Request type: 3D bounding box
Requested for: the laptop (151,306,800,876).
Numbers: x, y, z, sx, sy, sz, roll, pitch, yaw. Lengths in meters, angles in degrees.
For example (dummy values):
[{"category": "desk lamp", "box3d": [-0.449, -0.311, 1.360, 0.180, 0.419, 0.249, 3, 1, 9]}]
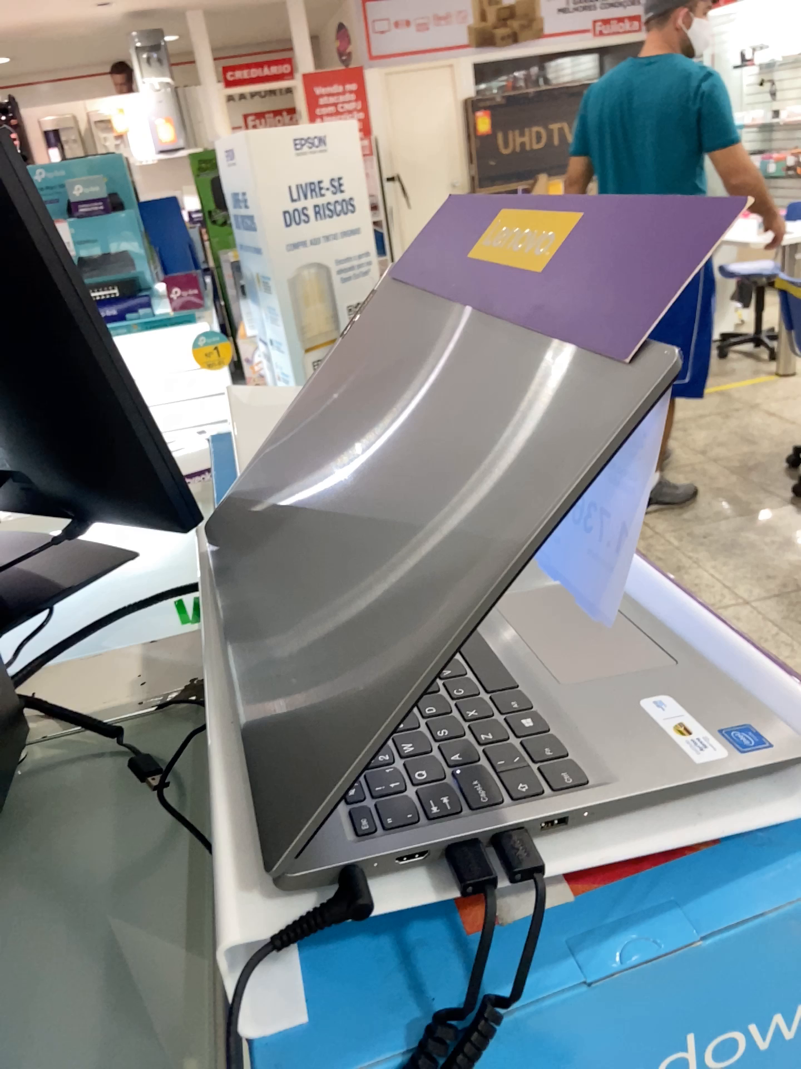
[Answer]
[{"category": "laptop", "box3d": [0.009, -0.024, 0.464, 0.243, 0.162, 0.358, -9, 23, -14]}]
